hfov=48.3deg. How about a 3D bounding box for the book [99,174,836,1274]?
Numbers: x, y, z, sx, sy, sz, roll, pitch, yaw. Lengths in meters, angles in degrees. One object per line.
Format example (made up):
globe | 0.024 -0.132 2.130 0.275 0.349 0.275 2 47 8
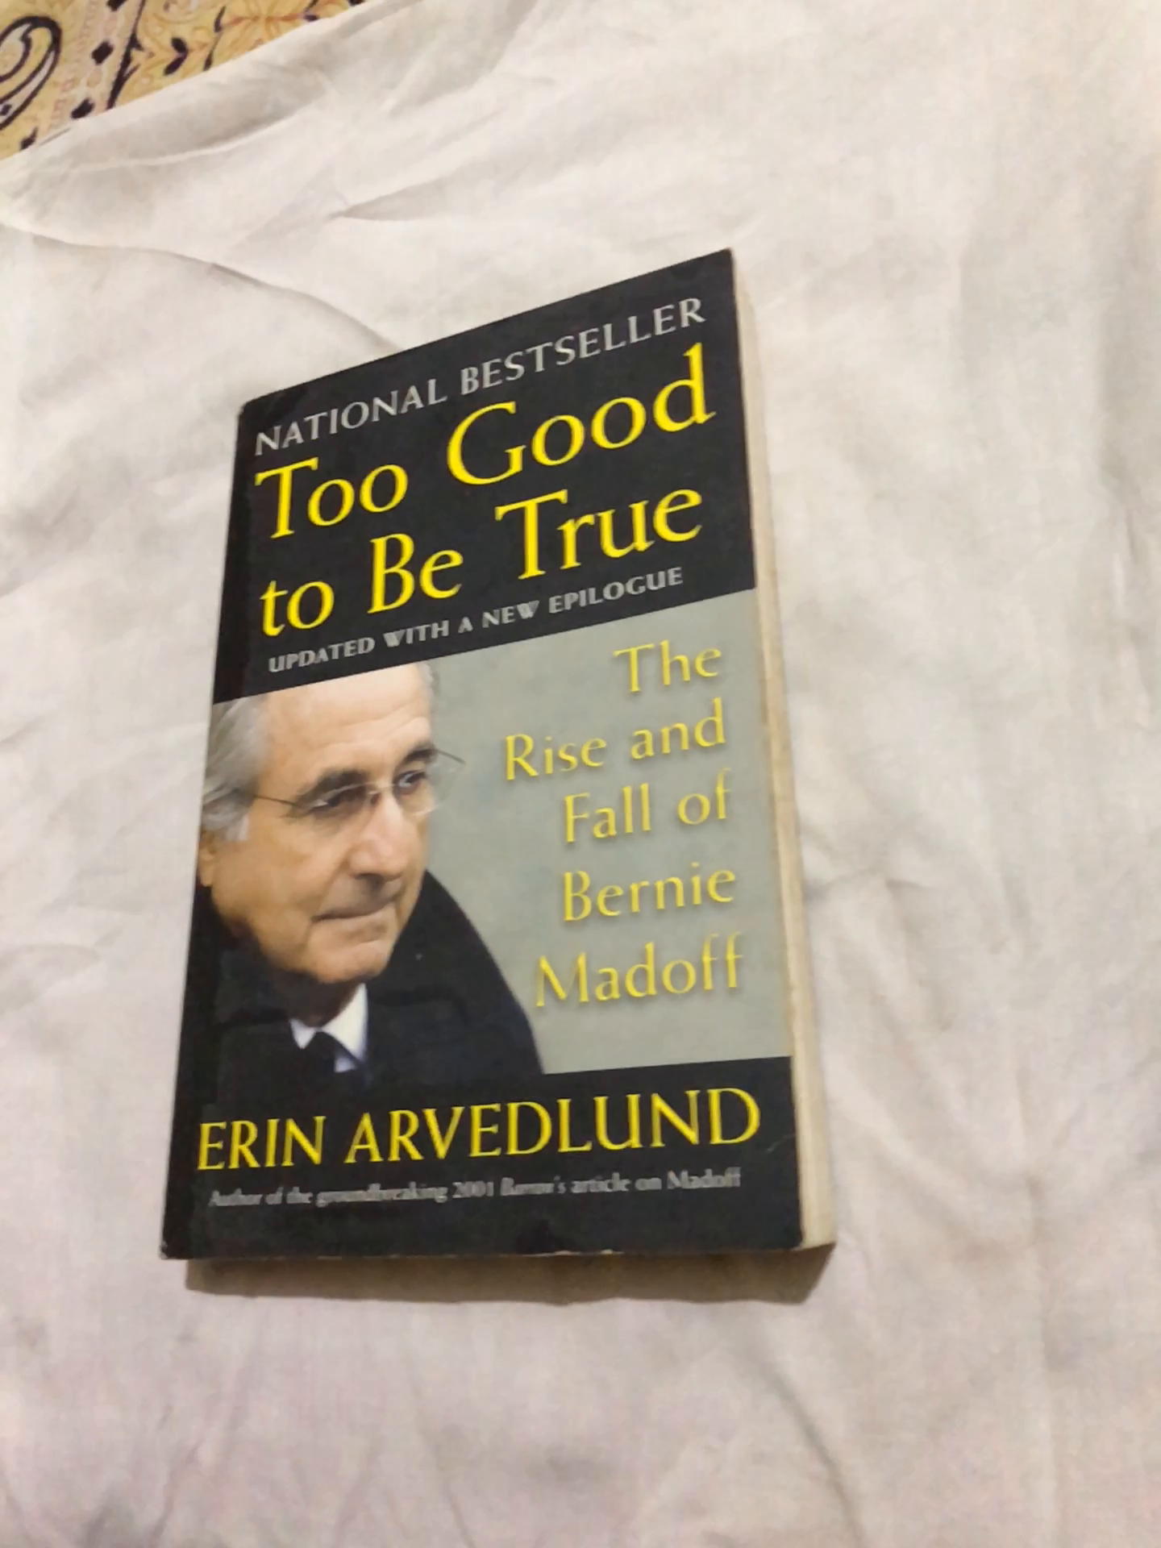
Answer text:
book | -0.029 -0.010 0.295 0.150 0.030 0.230 -10 68 24
